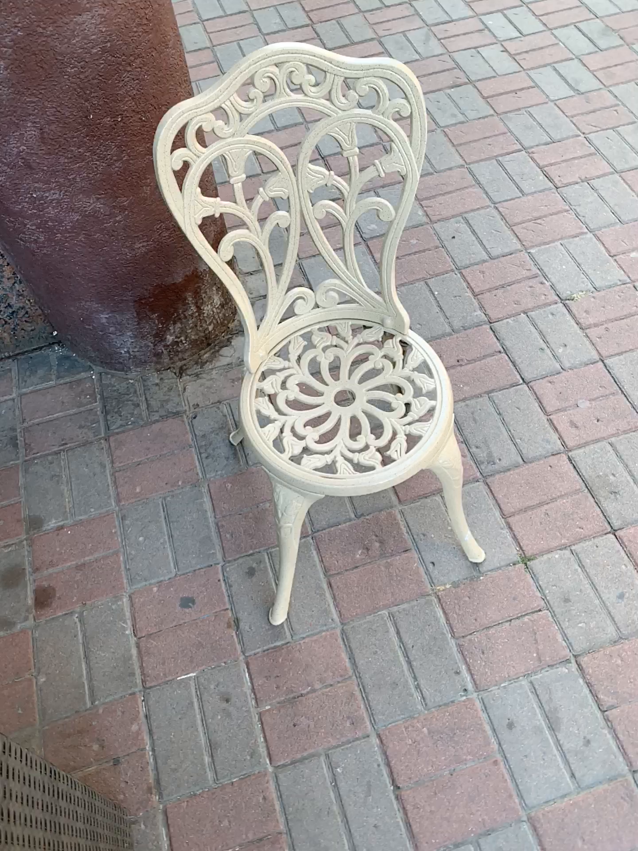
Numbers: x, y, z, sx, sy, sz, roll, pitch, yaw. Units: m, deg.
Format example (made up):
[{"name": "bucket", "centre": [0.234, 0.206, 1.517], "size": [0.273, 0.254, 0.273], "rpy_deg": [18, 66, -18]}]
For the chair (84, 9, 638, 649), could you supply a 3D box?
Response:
[{"name": "chair", "centre": [0.022, -0.079, 1.065], "size": [0.480, 0.798, 0.552], "rpy_deg": [-15, 57, -5]}]
